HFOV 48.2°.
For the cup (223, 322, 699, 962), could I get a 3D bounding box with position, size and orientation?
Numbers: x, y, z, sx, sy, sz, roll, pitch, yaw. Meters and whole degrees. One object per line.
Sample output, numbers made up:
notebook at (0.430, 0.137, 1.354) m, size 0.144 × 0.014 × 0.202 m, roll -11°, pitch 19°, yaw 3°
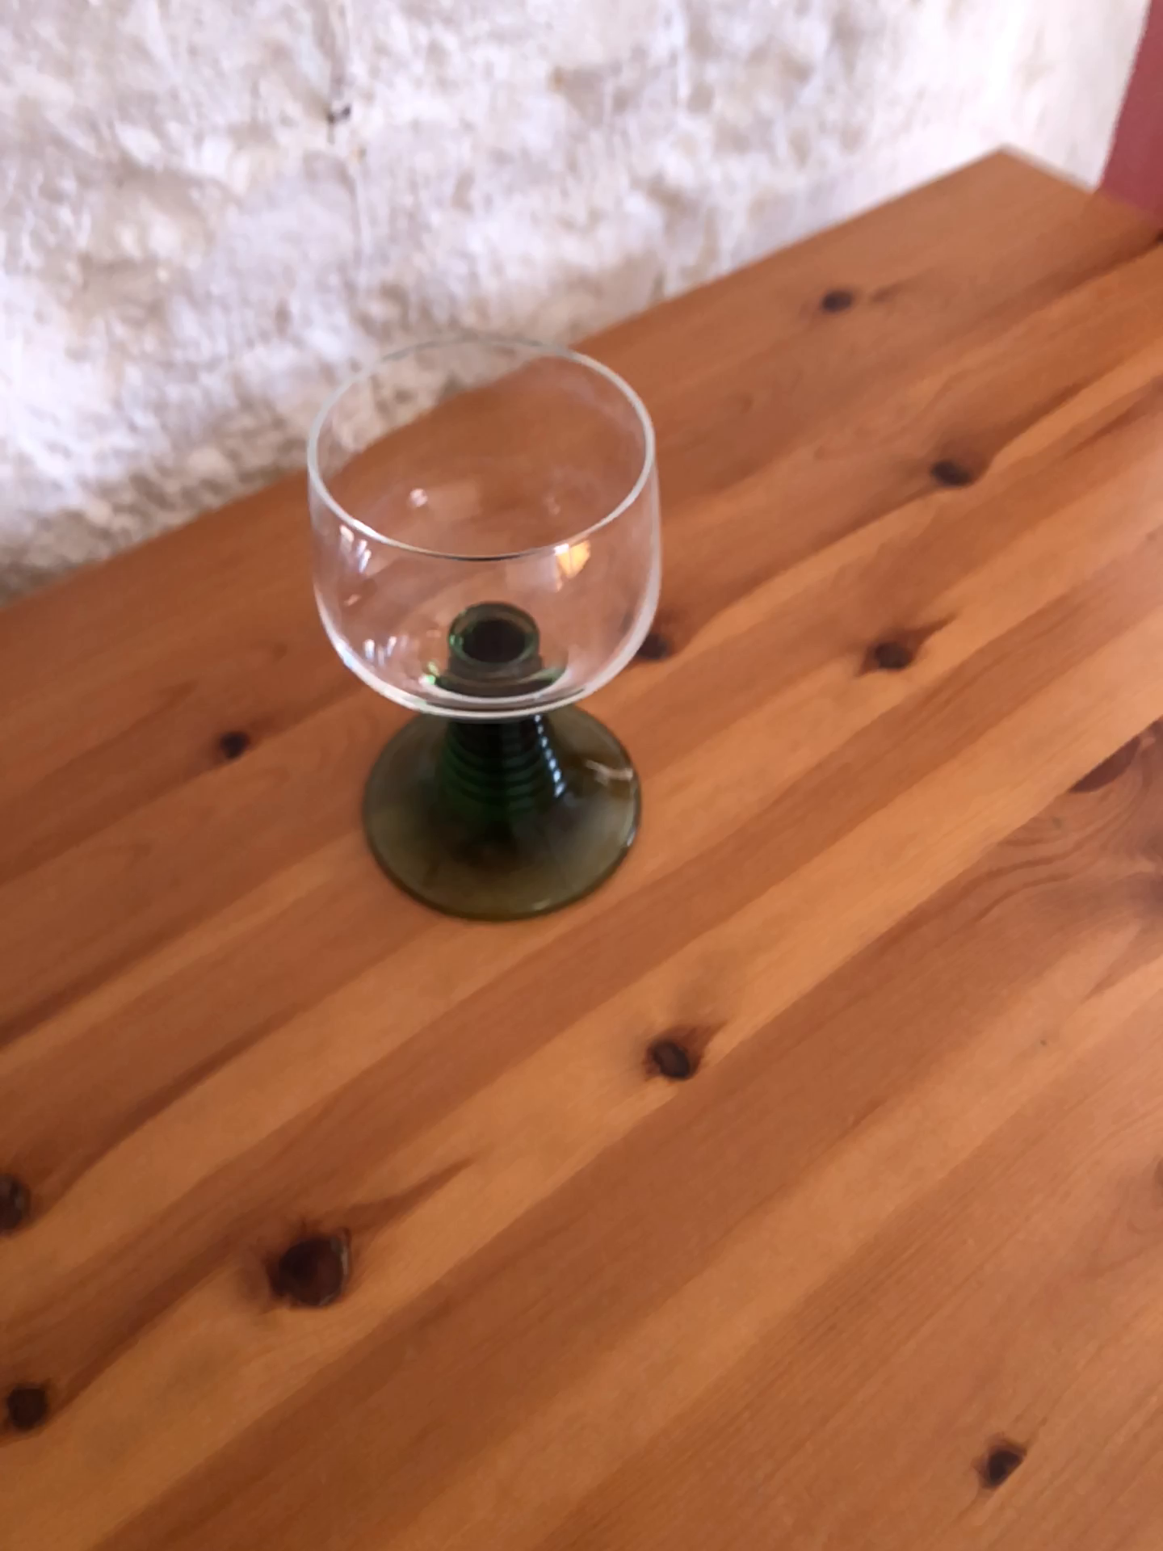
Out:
cup at (-0.018, -0.023, 0.270) m, size 0.073 × 0.106 × 0.075 m, roll 0°, pitch 52°, yaw -1°
